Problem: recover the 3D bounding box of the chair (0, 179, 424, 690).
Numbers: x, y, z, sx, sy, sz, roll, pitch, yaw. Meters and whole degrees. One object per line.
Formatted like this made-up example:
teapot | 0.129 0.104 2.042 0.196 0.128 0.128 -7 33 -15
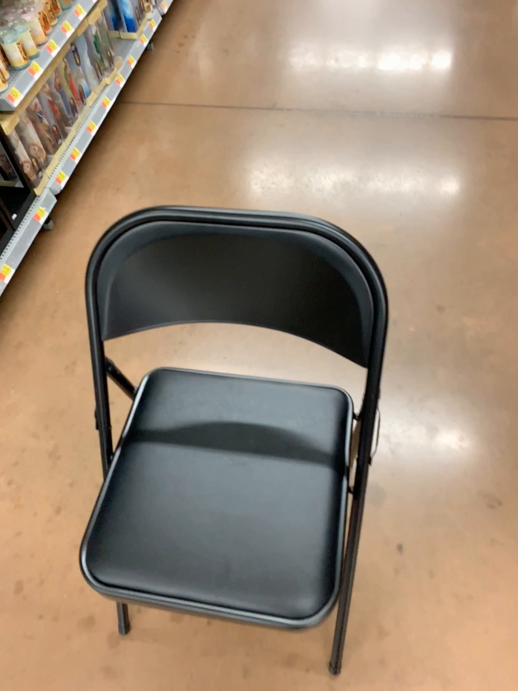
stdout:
chair | -0.060 0.196 0.807 0.470 0.698 0.471 6 56 8
